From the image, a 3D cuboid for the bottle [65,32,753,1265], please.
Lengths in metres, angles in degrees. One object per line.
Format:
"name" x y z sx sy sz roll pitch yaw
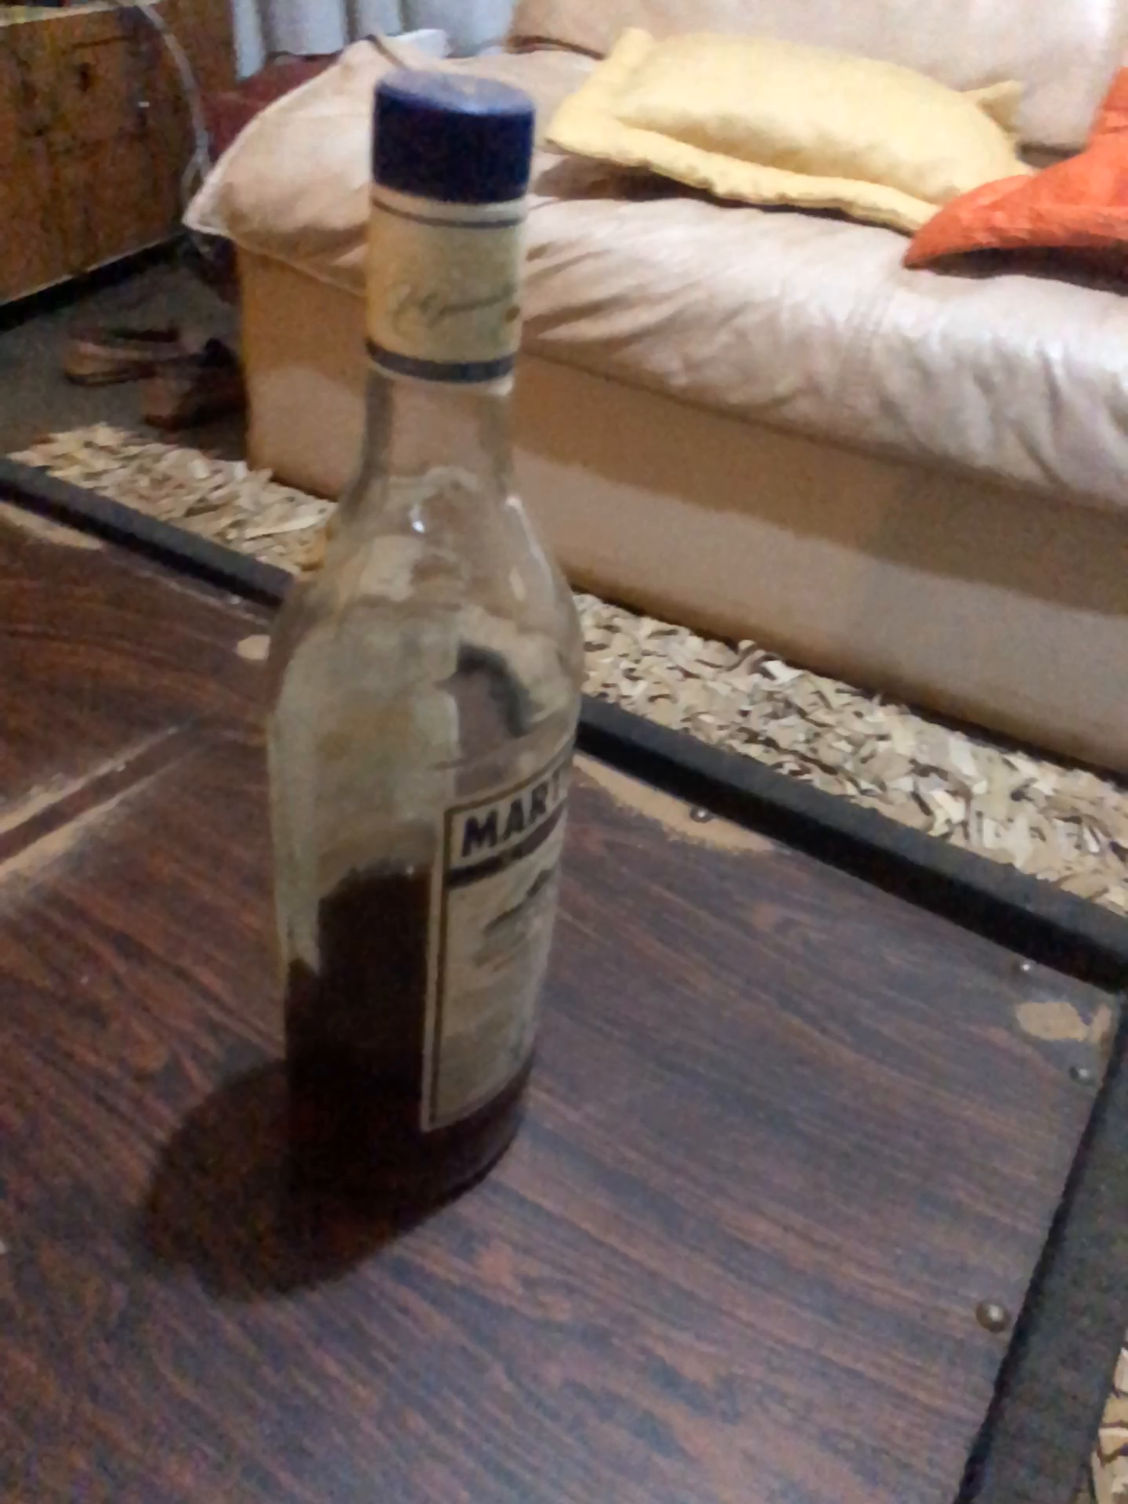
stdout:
"bottle" -0.038 -0.012 0.328 0.090 0.298 0.101 26 40 28
